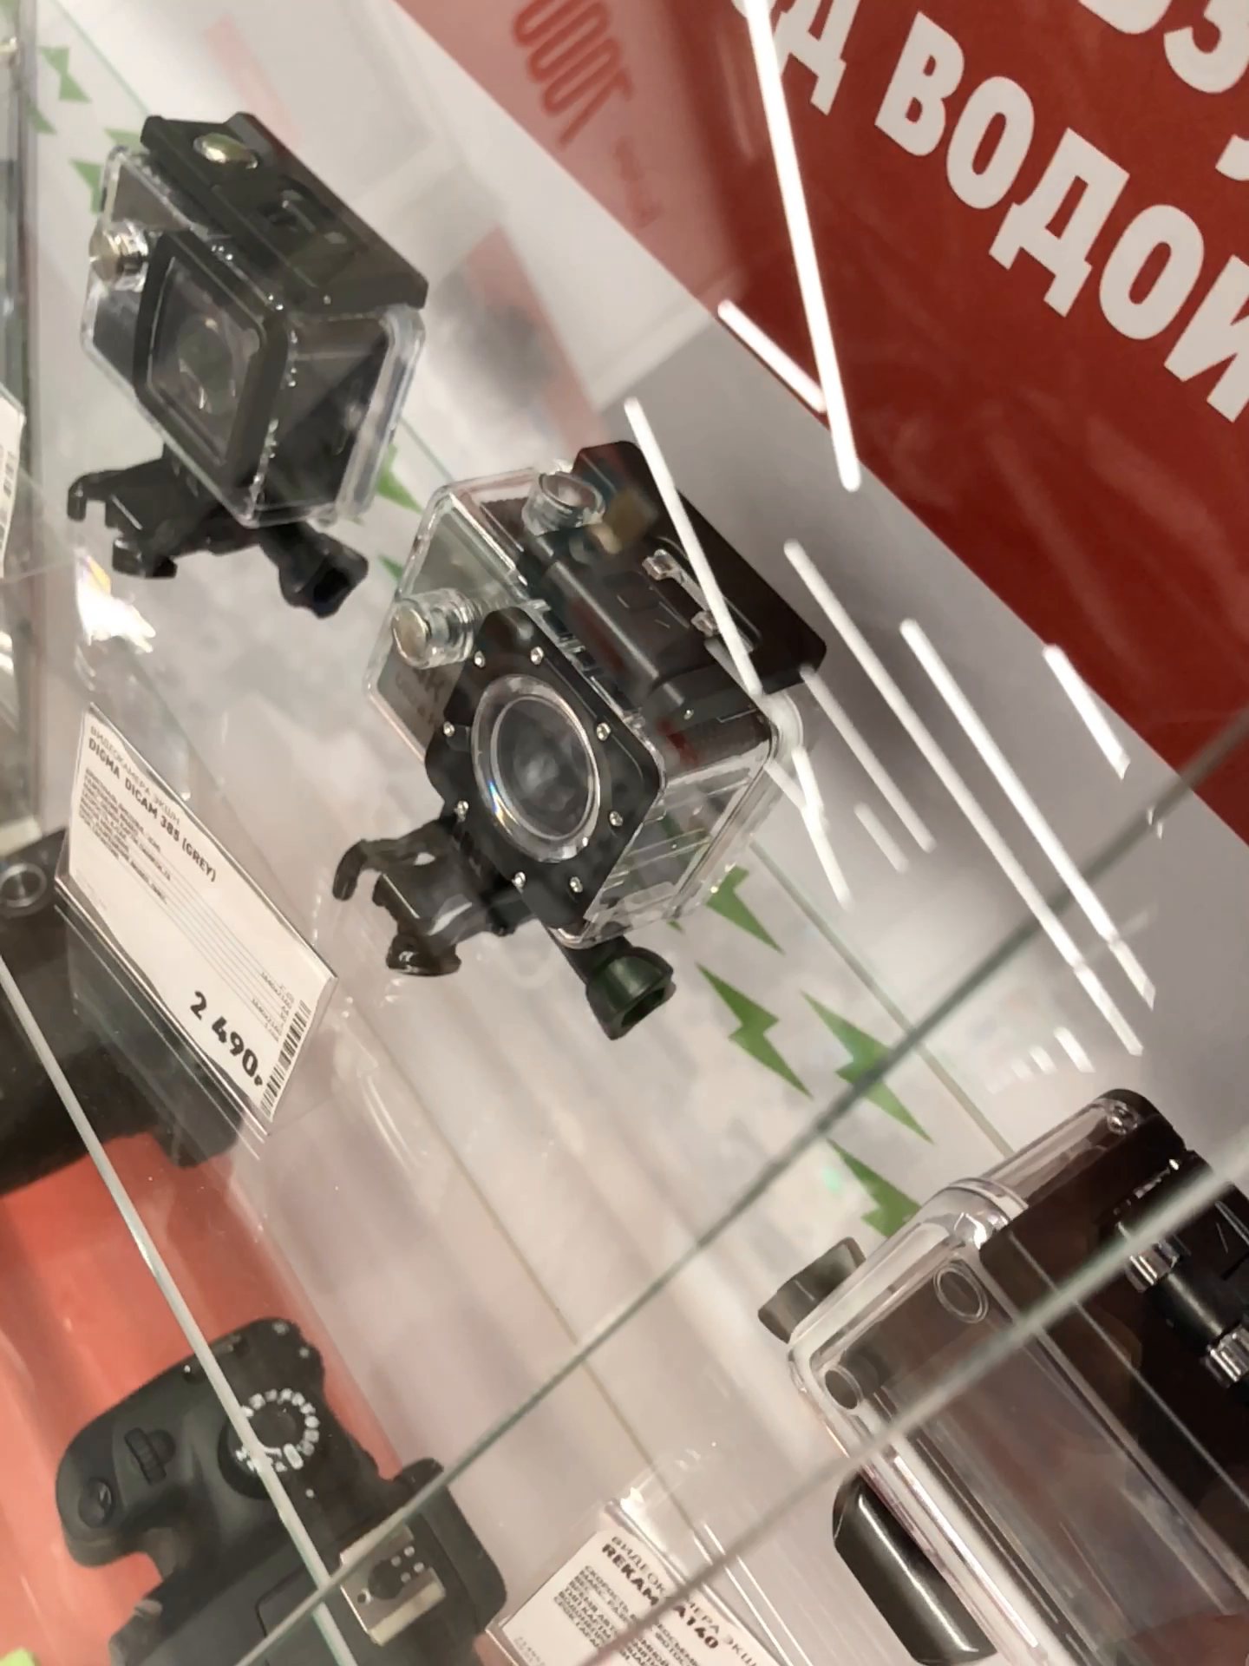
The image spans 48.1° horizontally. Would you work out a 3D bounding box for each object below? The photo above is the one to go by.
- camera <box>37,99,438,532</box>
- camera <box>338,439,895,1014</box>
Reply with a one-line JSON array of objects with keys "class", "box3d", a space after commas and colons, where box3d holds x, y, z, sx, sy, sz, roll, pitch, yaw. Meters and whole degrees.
[{"class": "camera", "box3d": [-0.079, -0.103, 0.277, 0.036, 0.045, 0.072, -22, 62, -44]}, {"class": "camera", "box3d": [-0.005, -0.021, 0.248, 0.048, 0.055, 0.077, -21, 61, -39]}]
